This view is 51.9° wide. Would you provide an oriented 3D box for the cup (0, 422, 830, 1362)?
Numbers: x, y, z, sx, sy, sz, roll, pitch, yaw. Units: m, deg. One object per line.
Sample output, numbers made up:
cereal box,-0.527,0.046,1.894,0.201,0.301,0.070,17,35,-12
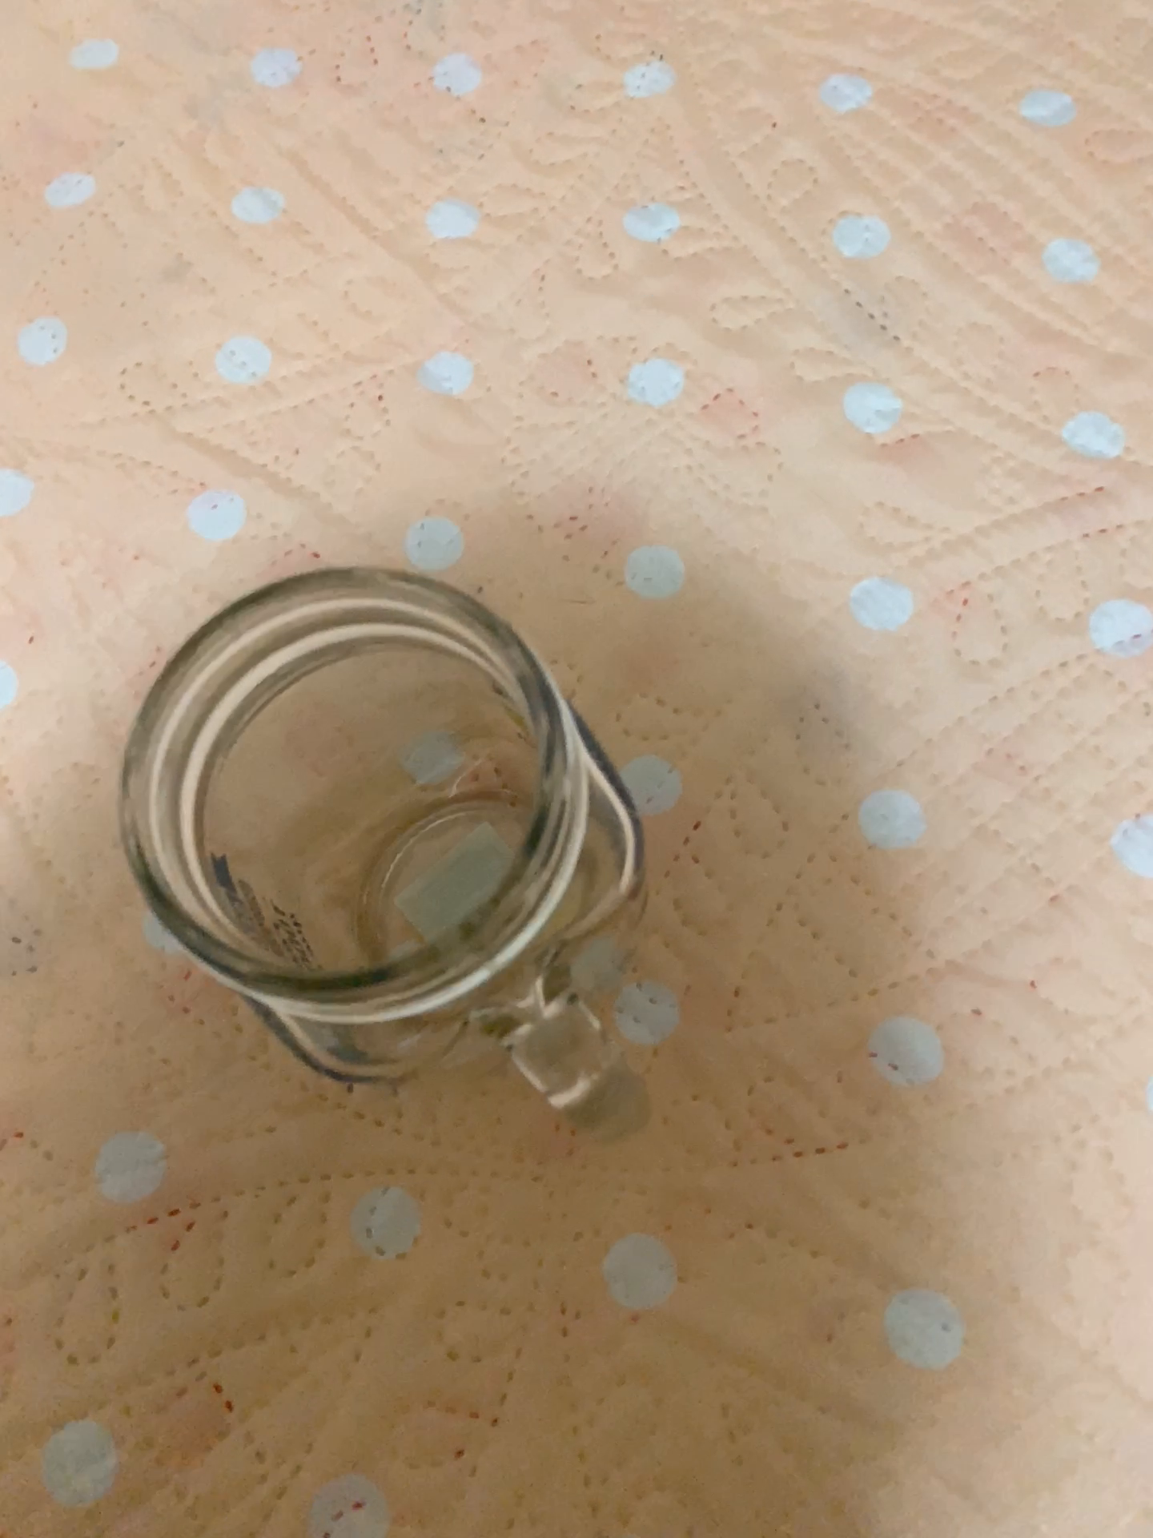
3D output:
cup,-0.026,0.028,0.213,0.080,0.120,0.100,-32,72,-8
